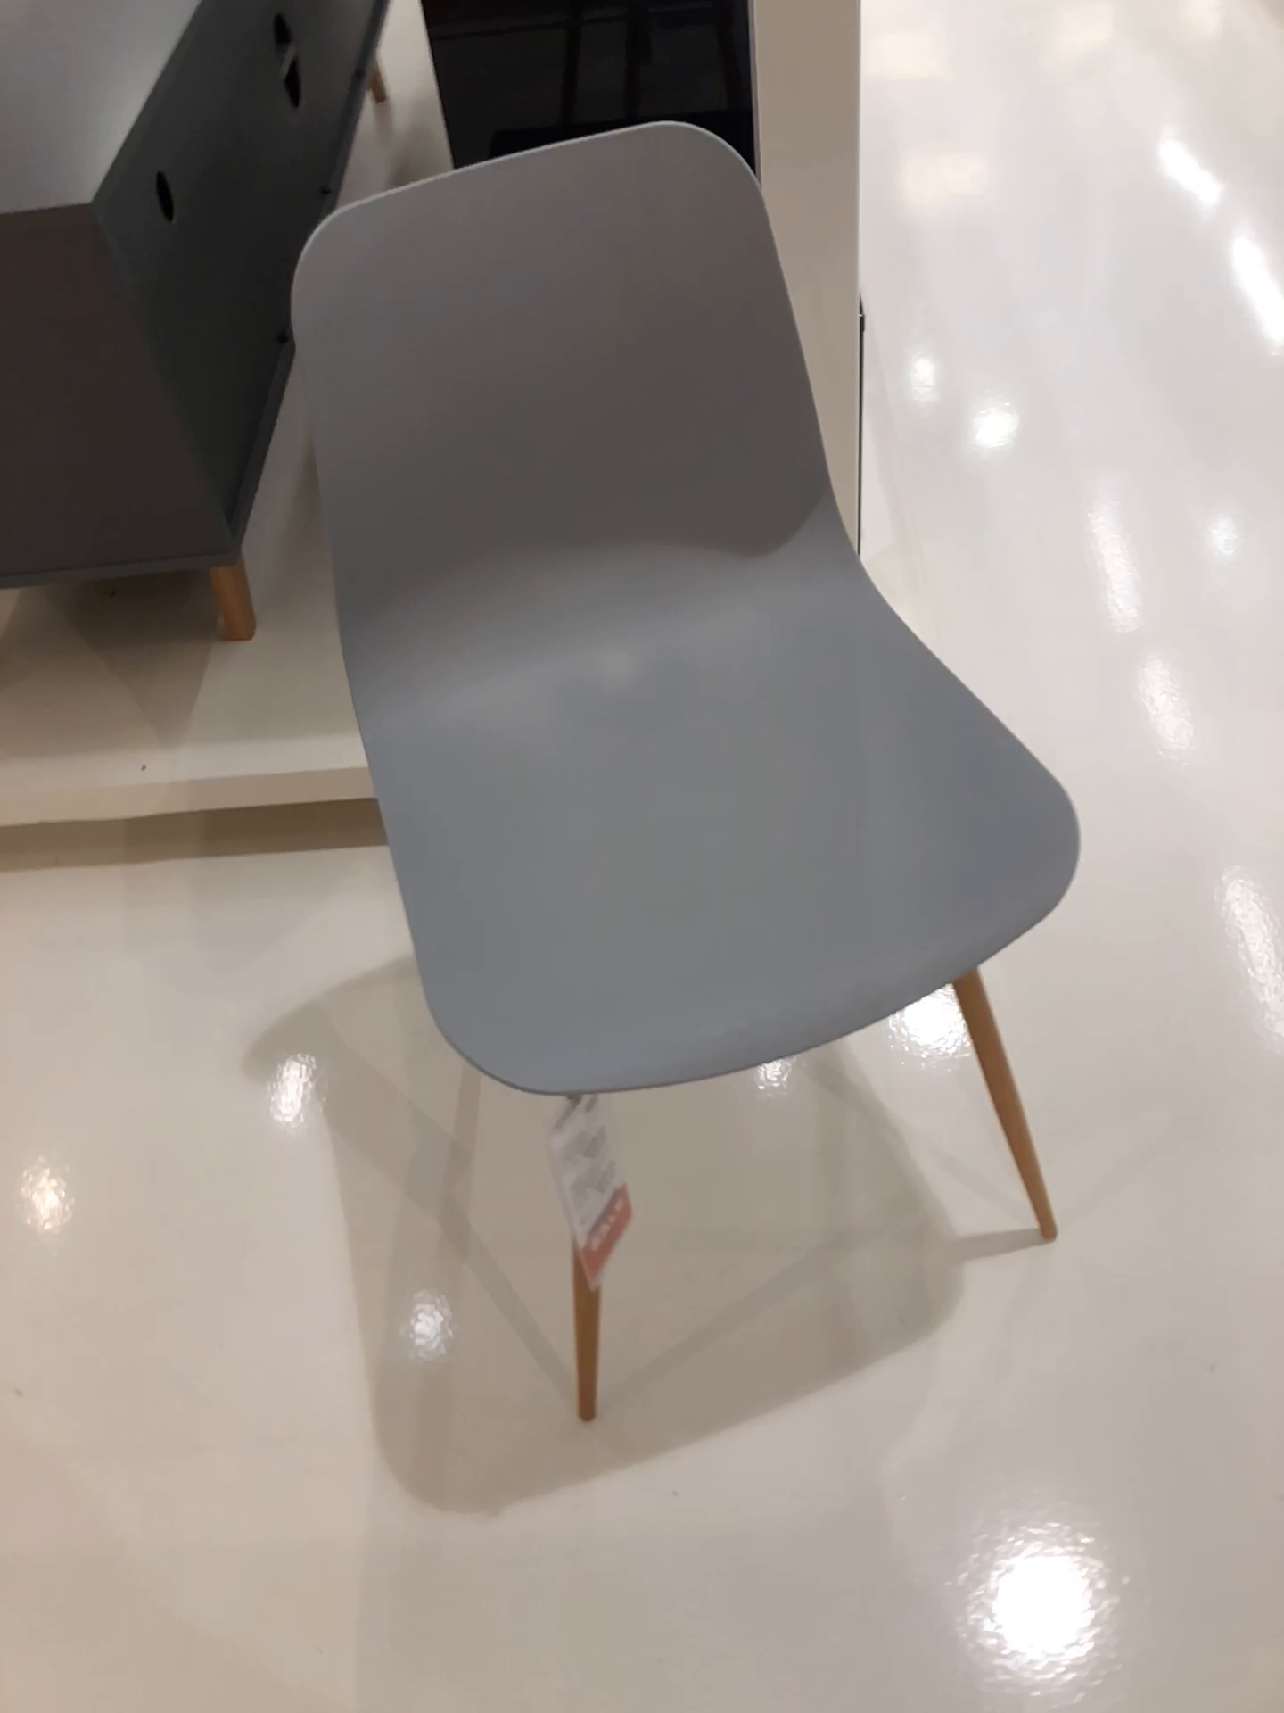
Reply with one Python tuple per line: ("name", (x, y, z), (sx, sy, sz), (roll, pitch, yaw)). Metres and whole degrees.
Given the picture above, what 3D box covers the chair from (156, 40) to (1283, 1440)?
("chair", (0.047, -0.029, 1.033), (0.470, 0.814, 0.473), (-18, 48, -8))
